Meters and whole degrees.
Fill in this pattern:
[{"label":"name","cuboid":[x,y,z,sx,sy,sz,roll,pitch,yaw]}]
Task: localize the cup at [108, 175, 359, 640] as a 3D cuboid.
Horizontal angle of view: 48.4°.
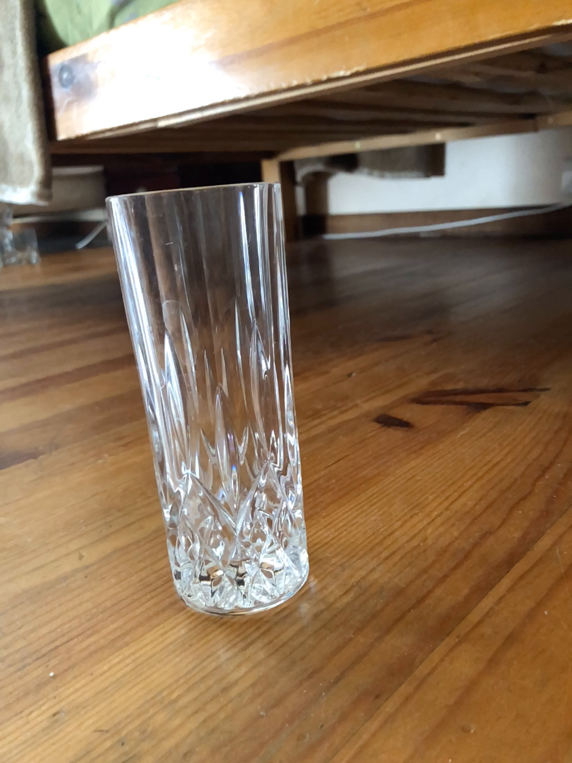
[{"label":"cup","cuboid":[-0.017,0.005,0.228,0.064,0.145,0.059,-5,16,1]}]
